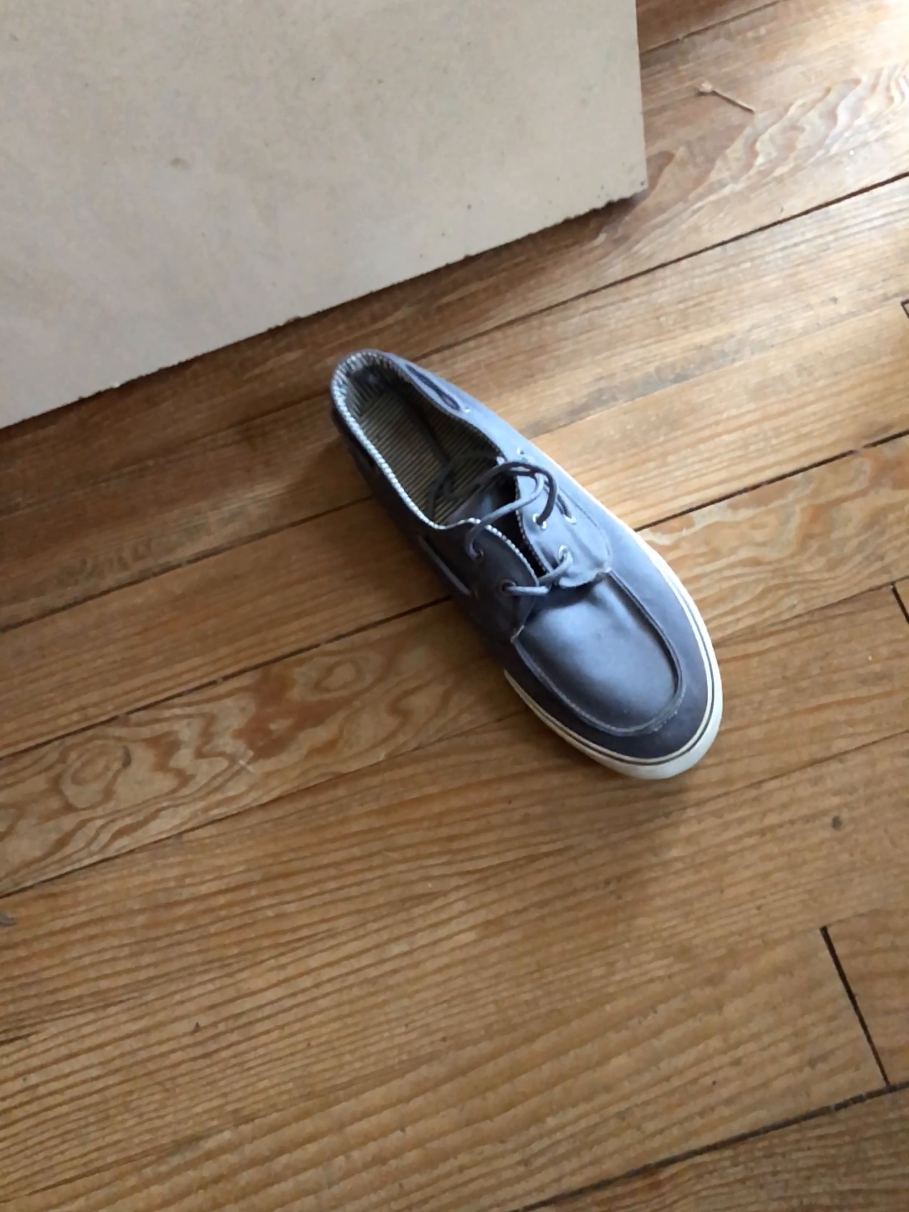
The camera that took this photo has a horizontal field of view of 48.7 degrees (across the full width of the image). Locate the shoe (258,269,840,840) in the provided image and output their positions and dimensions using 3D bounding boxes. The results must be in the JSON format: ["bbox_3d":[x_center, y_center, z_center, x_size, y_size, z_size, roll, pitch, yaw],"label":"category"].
[{"bbox_3d":[0.036,-0.028,0.474,0.100,0.060,0.270,-42,73,-5],"label":"shoe"}]
